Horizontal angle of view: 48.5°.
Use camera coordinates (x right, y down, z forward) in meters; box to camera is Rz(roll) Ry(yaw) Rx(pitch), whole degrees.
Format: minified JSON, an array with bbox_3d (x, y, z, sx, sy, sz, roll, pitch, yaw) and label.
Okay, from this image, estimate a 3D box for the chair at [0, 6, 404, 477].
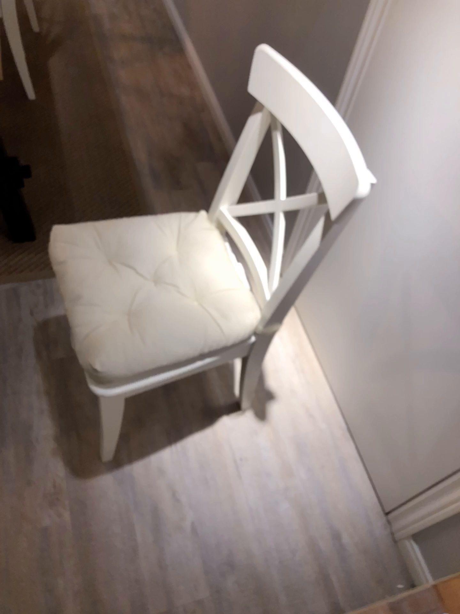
[{"bbox_3d":[-0.133,-0.068,1.107,0.510,0.876,0.452,-15,59,-19],"label":"chair"}]
